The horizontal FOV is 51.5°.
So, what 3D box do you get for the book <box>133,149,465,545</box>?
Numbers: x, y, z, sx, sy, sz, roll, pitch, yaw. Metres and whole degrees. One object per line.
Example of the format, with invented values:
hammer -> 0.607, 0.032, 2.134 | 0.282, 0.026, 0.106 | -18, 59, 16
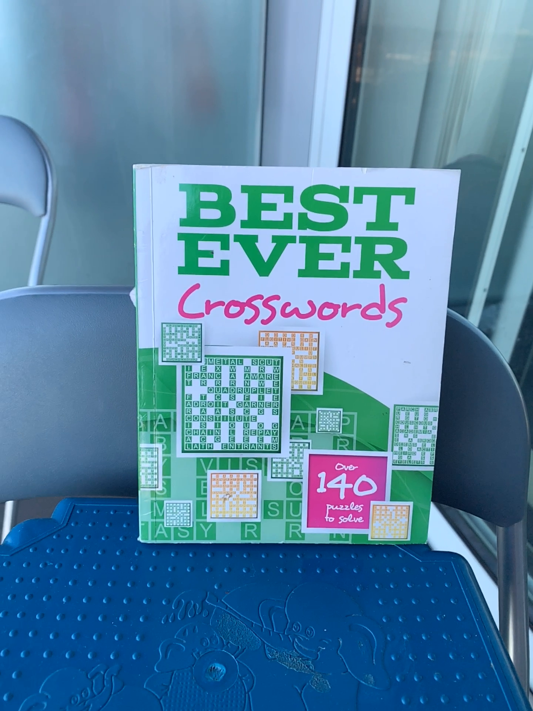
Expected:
book -> 0.013, 0.000, 0.290 | 0.157, 0.196, 0.030 | 1, 9, -4
